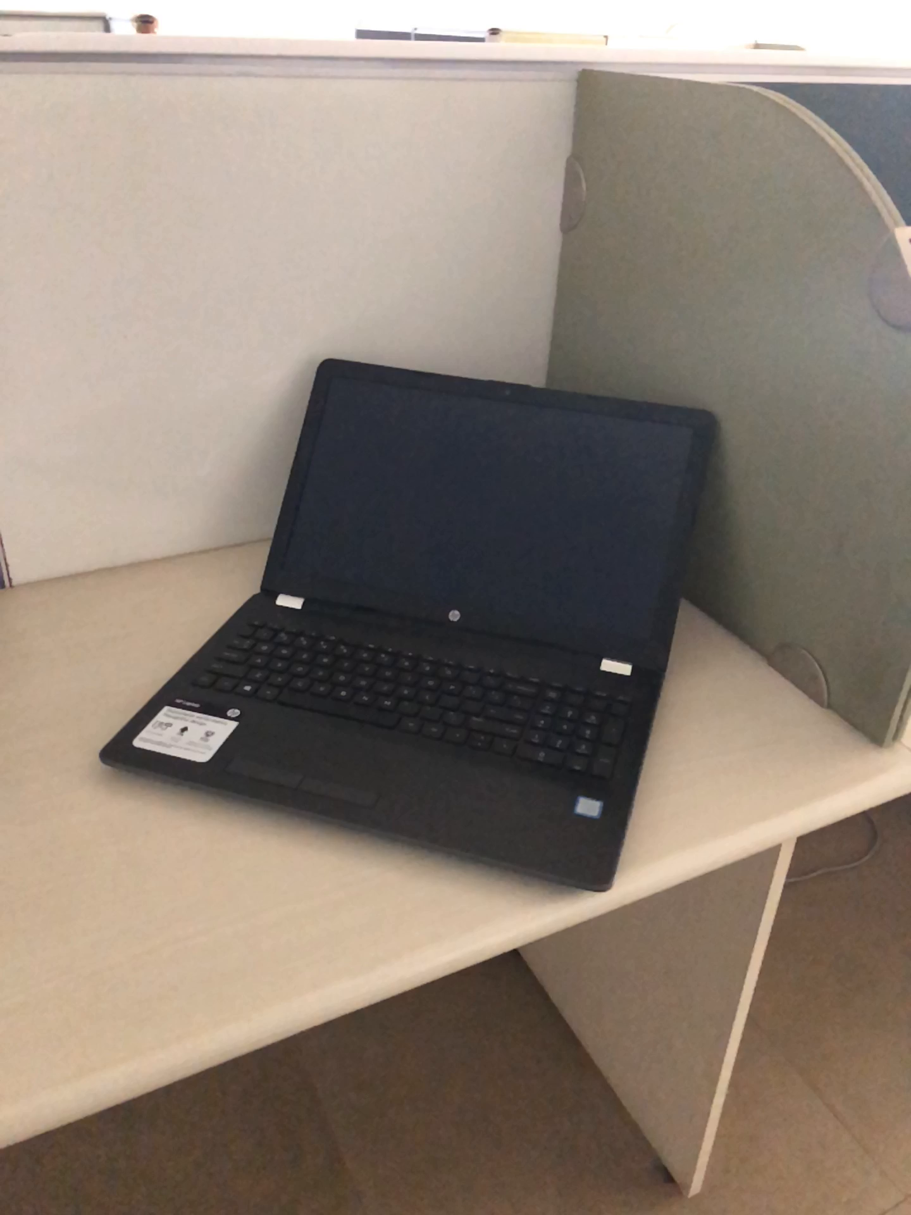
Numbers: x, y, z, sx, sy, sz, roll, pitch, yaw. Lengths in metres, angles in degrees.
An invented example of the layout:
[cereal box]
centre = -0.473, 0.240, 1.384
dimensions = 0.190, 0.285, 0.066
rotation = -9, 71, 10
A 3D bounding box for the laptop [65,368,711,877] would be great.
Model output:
[laptop]
centre = -0.016, -0.031, 0.791
dimensions = 0.365, 0.167, 0.395
rotation = 10, 32, 15
